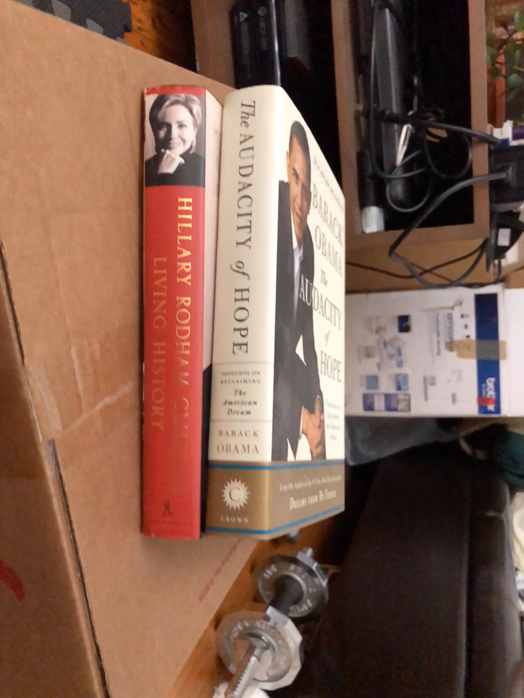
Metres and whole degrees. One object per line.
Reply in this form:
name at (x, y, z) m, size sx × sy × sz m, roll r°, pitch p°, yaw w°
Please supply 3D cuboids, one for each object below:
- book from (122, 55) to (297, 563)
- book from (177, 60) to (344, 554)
book at (-0.023, -0.018, 0.371) m, size 0.171 × 0.040 × 0.250 m, roll 8°, pitch 81°, yaw -70°
book at (0.014, -0.014, 0.382) m, size 0.191 × 0.040 × 0.250 m, roll 25°, pitch 65°, yaw -68°
